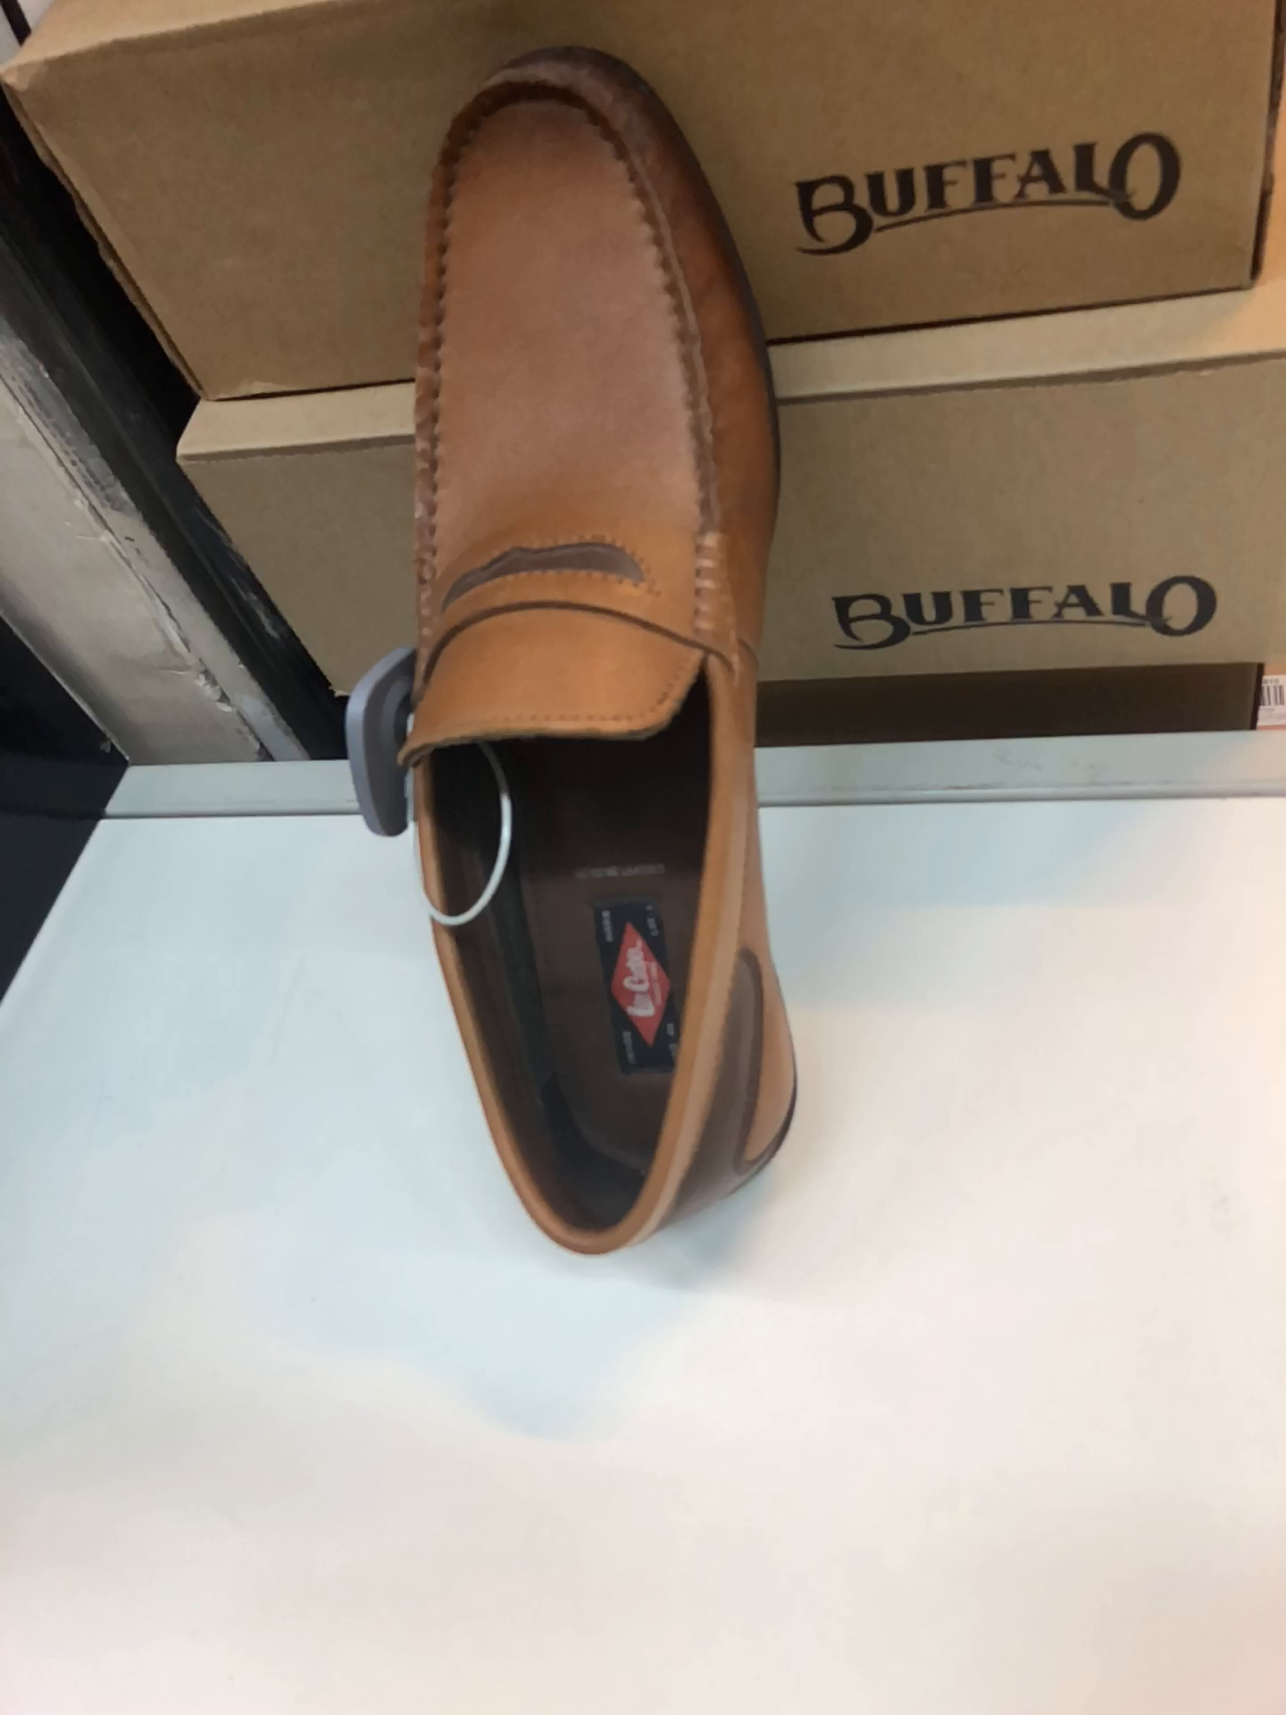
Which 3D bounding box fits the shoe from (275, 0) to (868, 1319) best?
[{"bbox_3d":[-0.009,-0.046,0.374,0.103,0.103,0.294,-1,97,22],"label":"shoe"}]
